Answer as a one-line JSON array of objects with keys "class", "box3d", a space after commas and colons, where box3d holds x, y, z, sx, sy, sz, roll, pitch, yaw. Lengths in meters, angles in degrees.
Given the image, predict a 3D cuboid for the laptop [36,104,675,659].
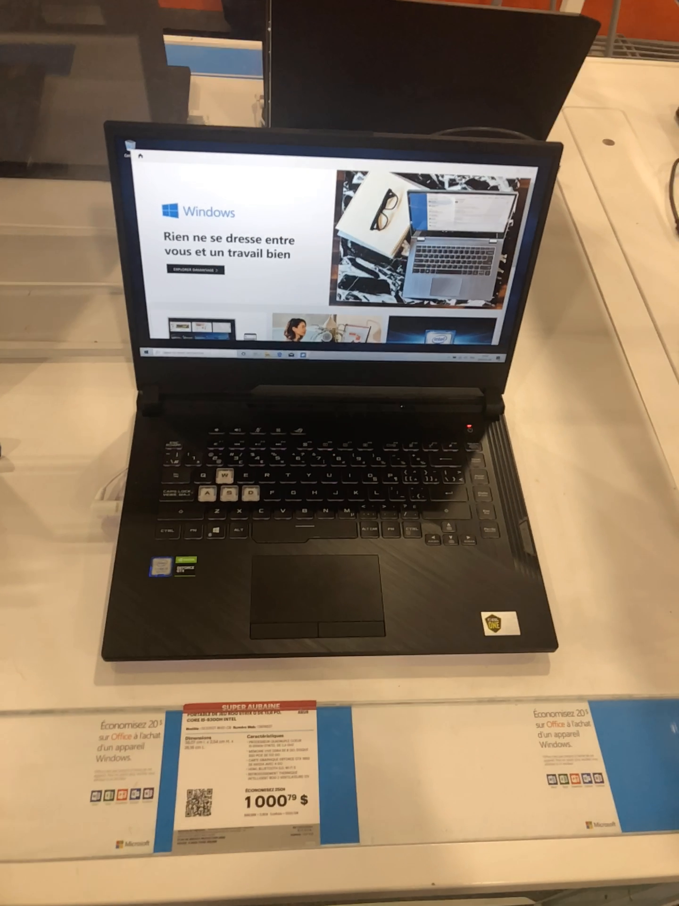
[{"class": "laptop", "box3d": [0.002, -0.060, 0.604, 0.363, 0.236, 0.345, 0, 56, -5]}]
